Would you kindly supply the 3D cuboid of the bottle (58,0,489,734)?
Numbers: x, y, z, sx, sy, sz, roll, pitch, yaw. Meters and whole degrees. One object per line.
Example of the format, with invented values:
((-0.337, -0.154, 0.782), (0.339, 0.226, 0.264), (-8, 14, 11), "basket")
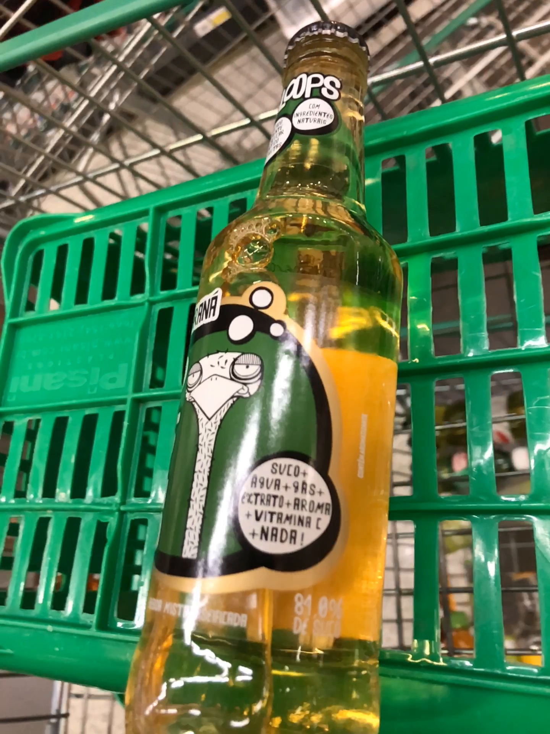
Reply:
((0.012, -0.007, 0.161), (0.070, 0.060, 0.220), (-5, 70, 29), "bottle")
